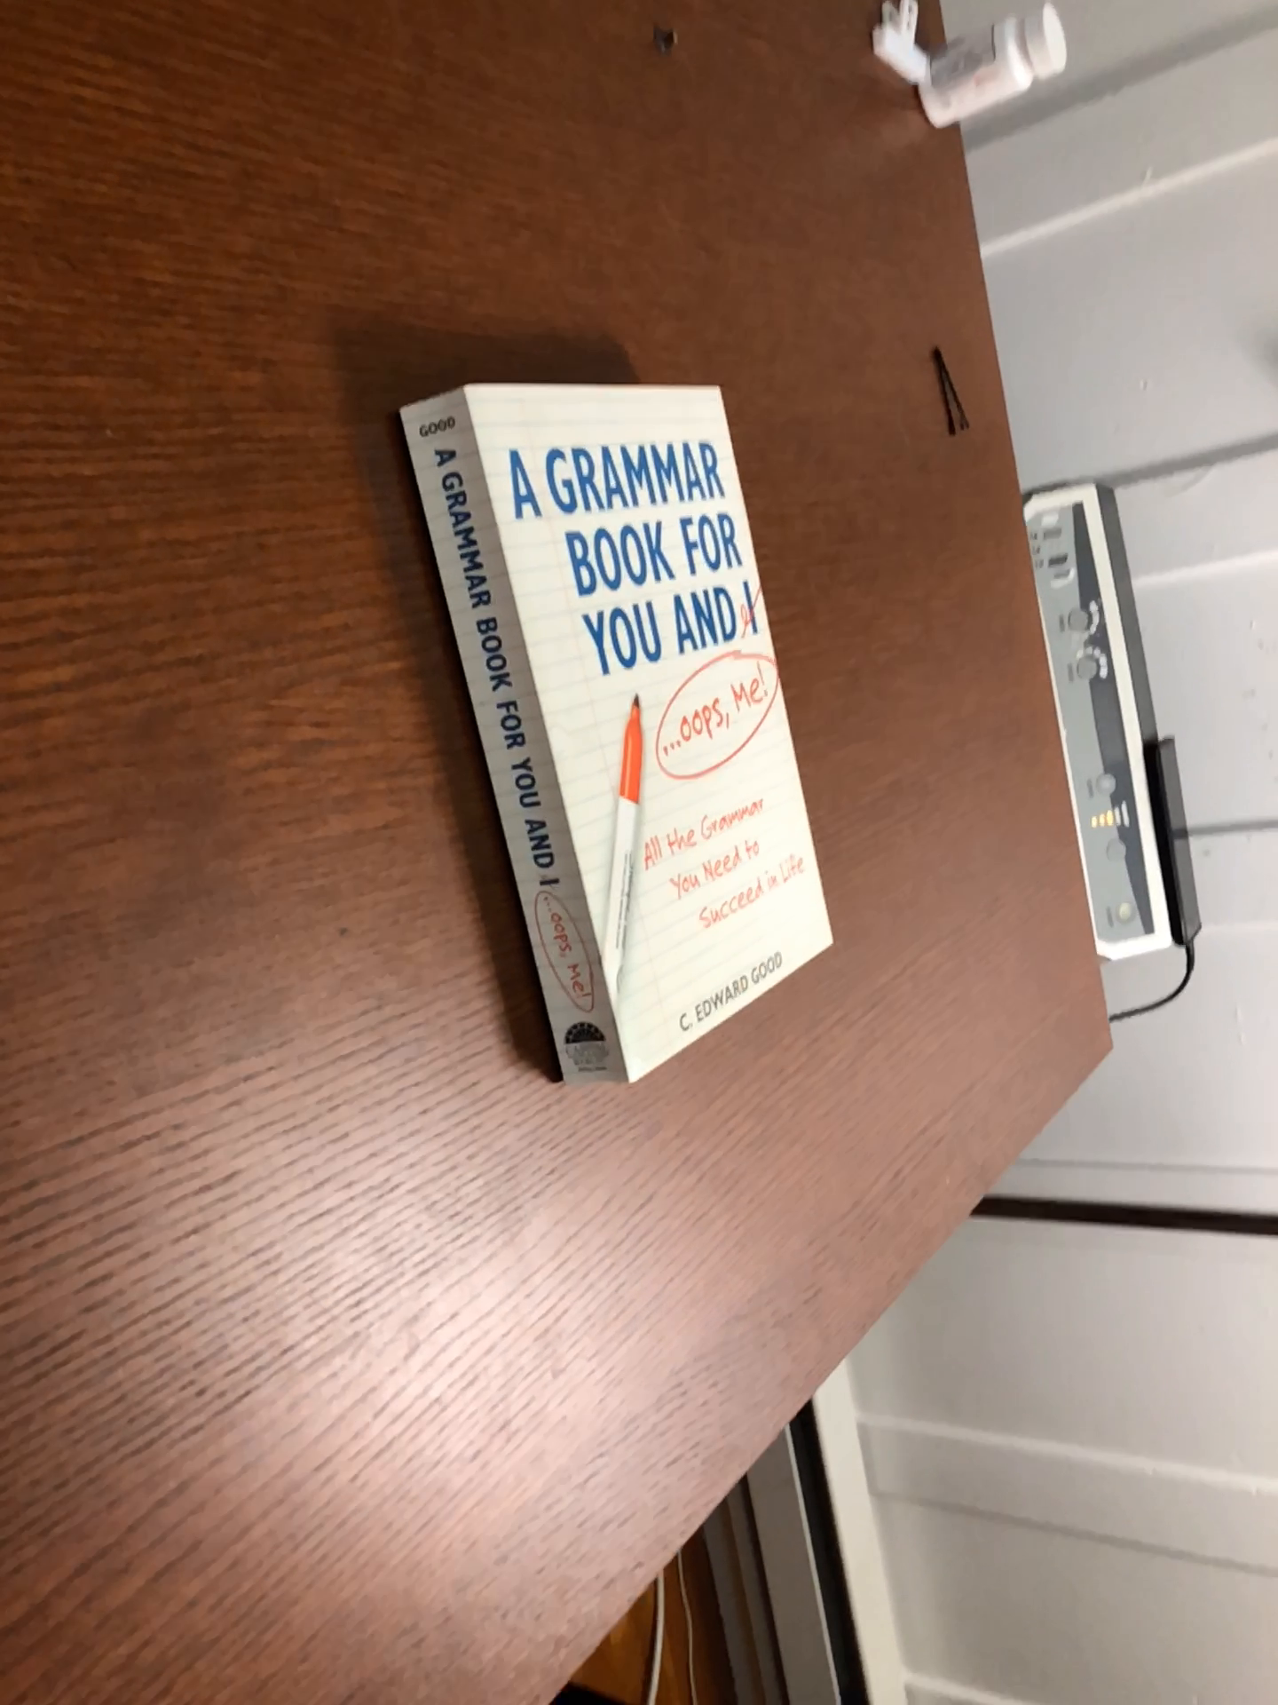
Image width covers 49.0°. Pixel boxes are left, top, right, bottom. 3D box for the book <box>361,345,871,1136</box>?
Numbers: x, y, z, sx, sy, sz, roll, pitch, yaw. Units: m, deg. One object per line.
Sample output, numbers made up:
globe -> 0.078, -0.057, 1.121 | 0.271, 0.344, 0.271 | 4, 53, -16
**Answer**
book -> 0.005, -0.047, 0.496 | 0.171, 0.040, 0.240 | -24, 104, -53
